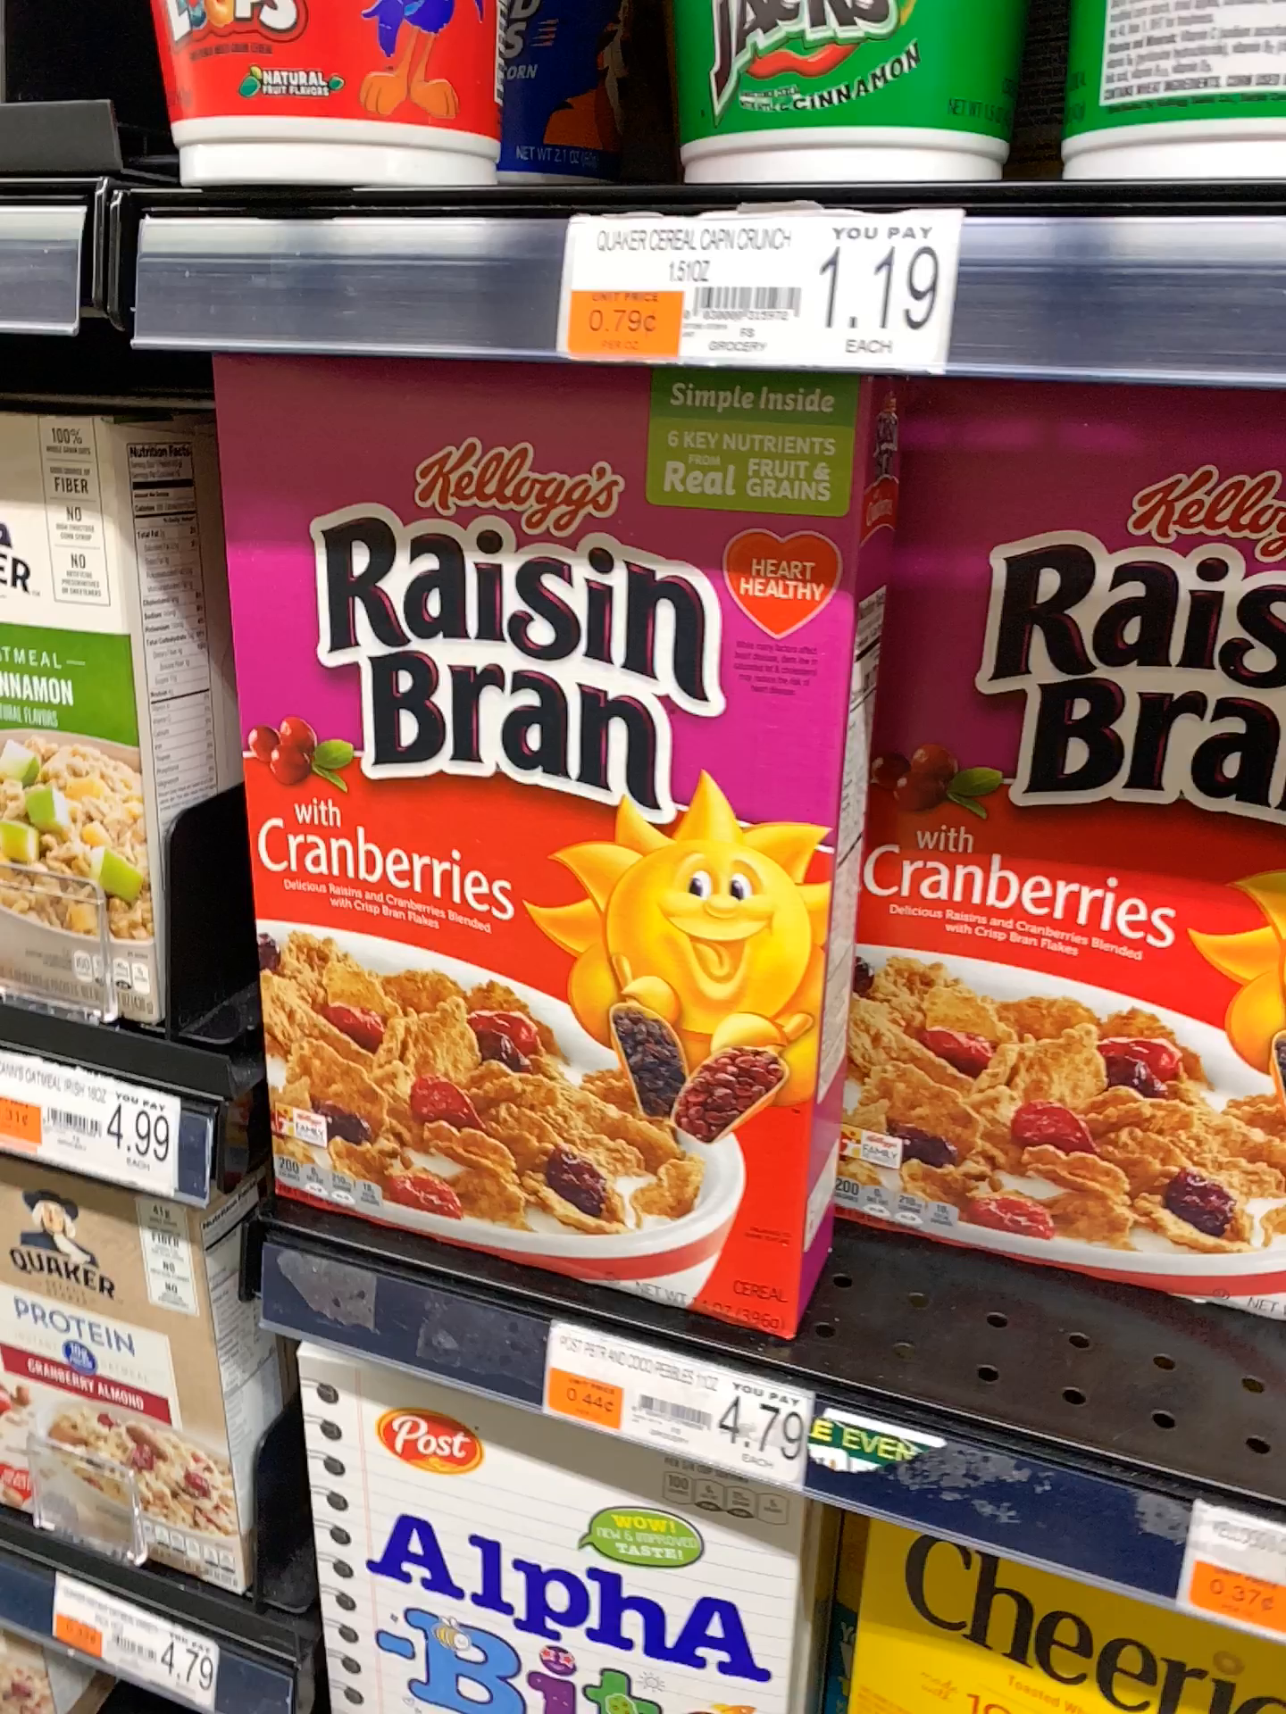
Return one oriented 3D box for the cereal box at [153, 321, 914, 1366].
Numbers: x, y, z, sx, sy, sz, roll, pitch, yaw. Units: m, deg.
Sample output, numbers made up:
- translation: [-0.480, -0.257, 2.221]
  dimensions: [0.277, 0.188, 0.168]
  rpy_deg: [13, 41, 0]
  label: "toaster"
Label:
- translation: [-0.036, -0.007, 0.408]
  dimensions: [0.200, 0.289, 0.060]
  rpy_deg: [9, 21, 19]
  label: "cereal box"
